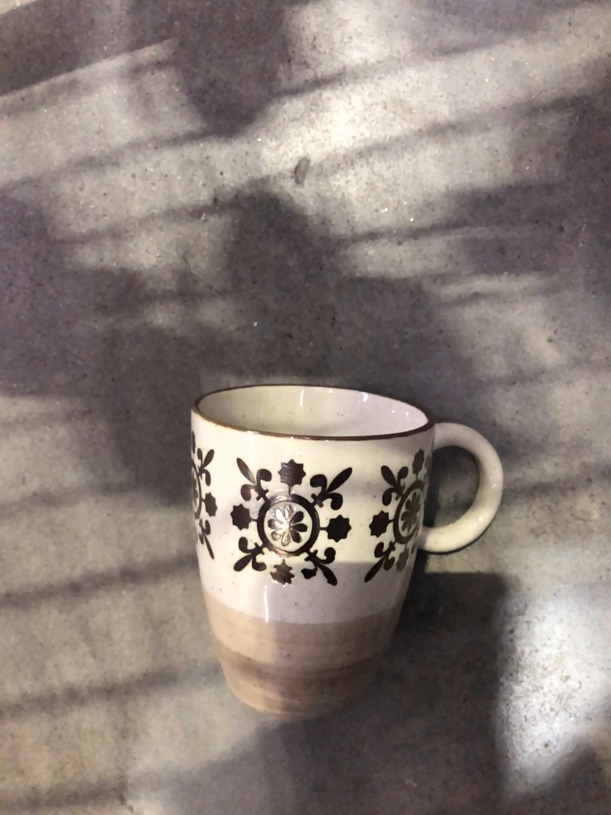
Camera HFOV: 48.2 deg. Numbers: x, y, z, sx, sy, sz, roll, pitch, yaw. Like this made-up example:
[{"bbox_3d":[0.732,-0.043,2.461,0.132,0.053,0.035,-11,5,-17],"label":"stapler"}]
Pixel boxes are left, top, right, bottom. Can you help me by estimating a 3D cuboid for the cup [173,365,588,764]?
[{"bbox_3d":[0.014,0.038,0.207,0.100,0.070,0.090,1,102,-14],"label":"cup"}]
